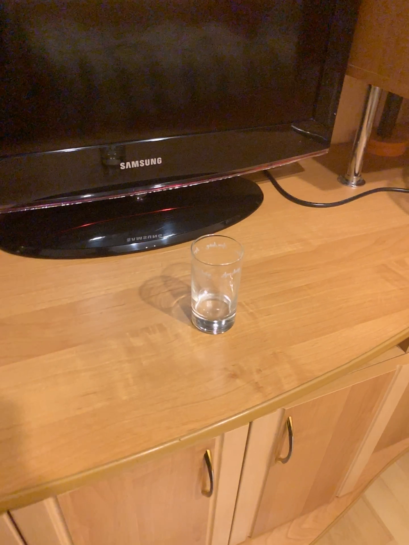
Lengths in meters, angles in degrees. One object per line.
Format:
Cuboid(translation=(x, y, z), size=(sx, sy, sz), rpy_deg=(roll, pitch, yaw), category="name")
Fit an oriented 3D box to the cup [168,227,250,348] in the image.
Cuboid(translation=(0.004, 0.016, 0.446), size=(0.060, 0.099, 0.060), rpy_deg=(1, 37, -1), category="cup")
